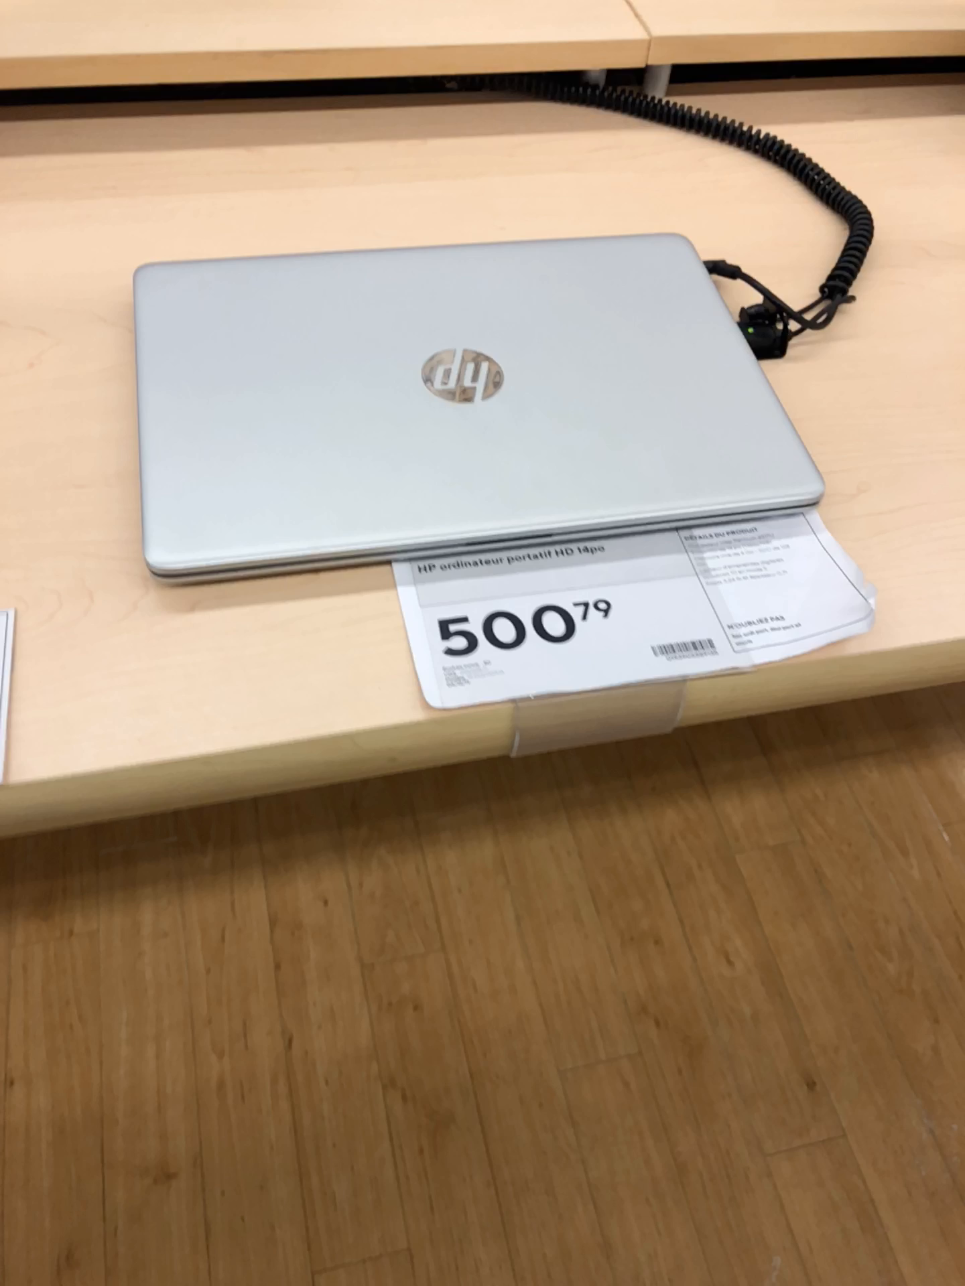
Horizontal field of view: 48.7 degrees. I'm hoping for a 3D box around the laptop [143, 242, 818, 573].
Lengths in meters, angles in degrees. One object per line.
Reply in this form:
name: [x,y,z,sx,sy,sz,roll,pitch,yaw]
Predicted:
laptop: [-0.008,-0.134,0.542,0.309,0.004,0.205,-8,55,-13]
